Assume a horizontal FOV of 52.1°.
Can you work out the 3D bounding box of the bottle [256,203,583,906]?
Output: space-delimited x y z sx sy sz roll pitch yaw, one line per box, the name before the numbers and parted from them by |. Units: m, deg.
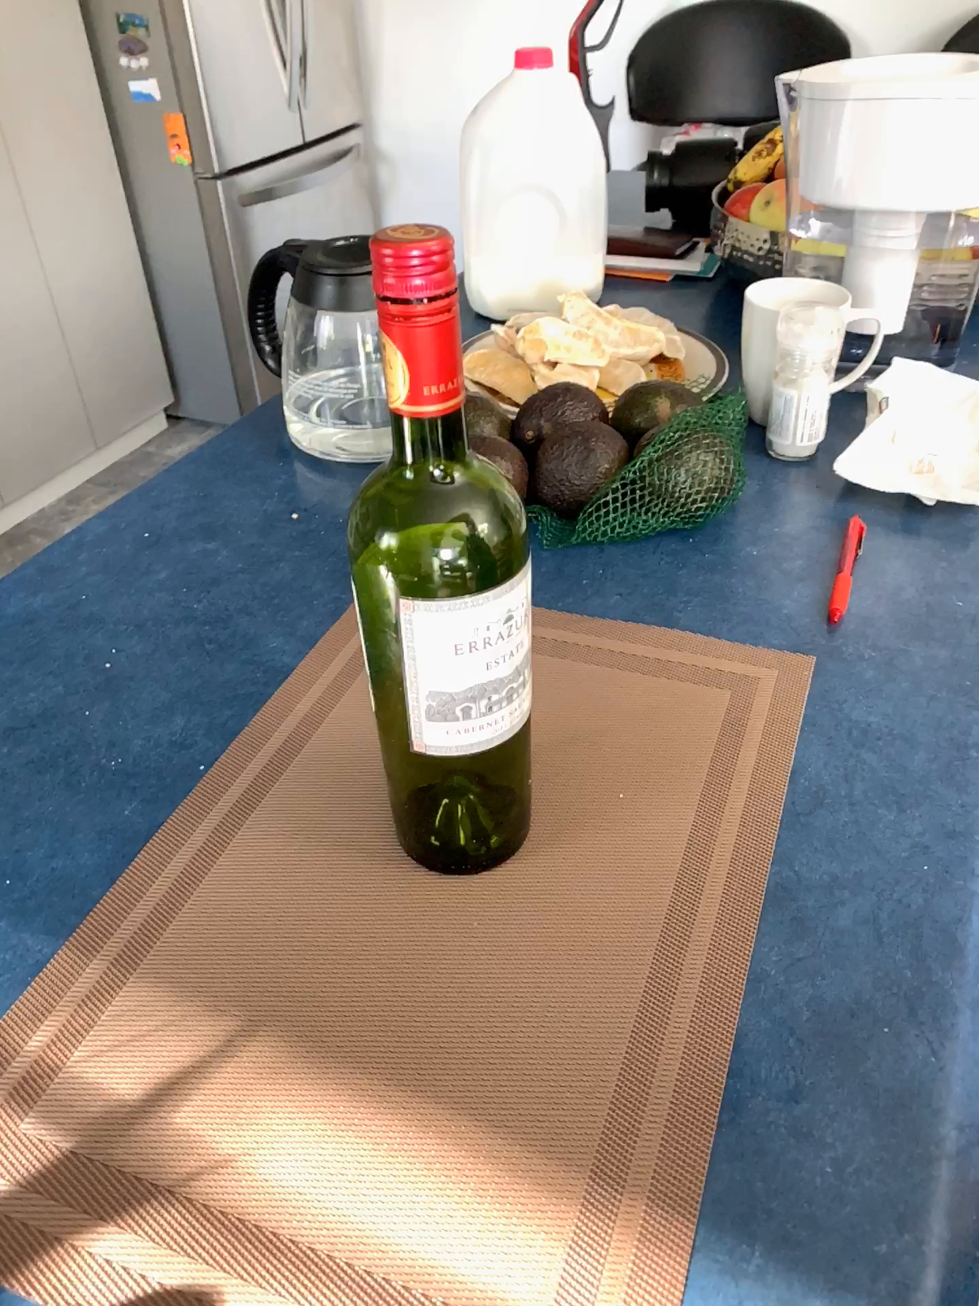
bottle | -0.019 -0.029 0.426 0.080 0.277 0.080 -2 37 1
